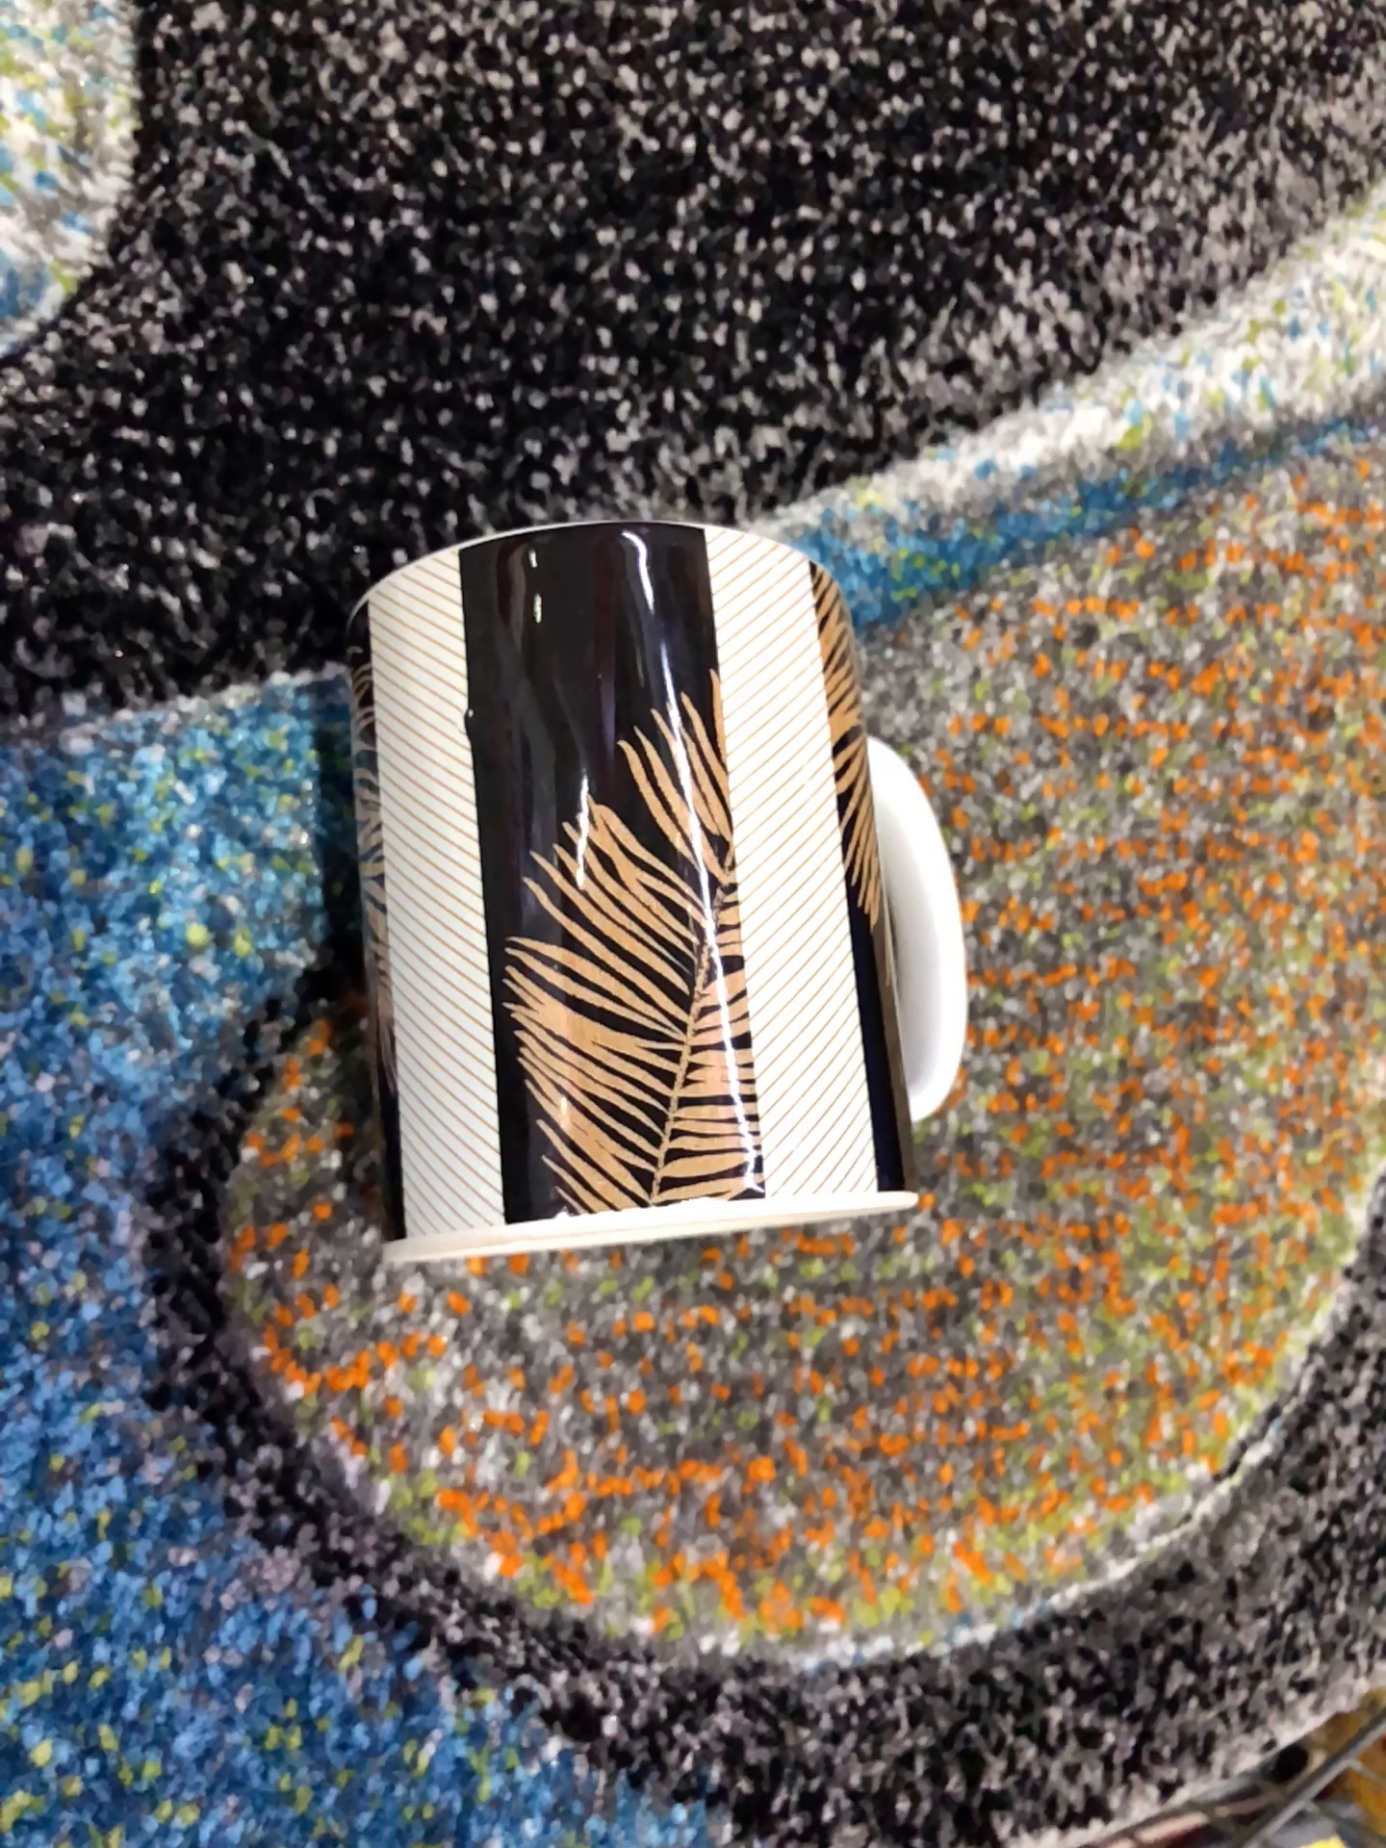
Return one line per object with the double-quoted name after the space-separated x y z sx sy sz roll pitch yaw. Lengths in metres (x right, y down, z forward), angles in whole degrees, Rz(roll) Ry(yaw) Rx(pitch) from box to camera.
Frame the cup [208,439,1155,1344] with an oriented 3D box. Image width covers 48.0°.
0.001 0.004 0.237 0.120 0.070 0.100 5 75 -46 "cup"
